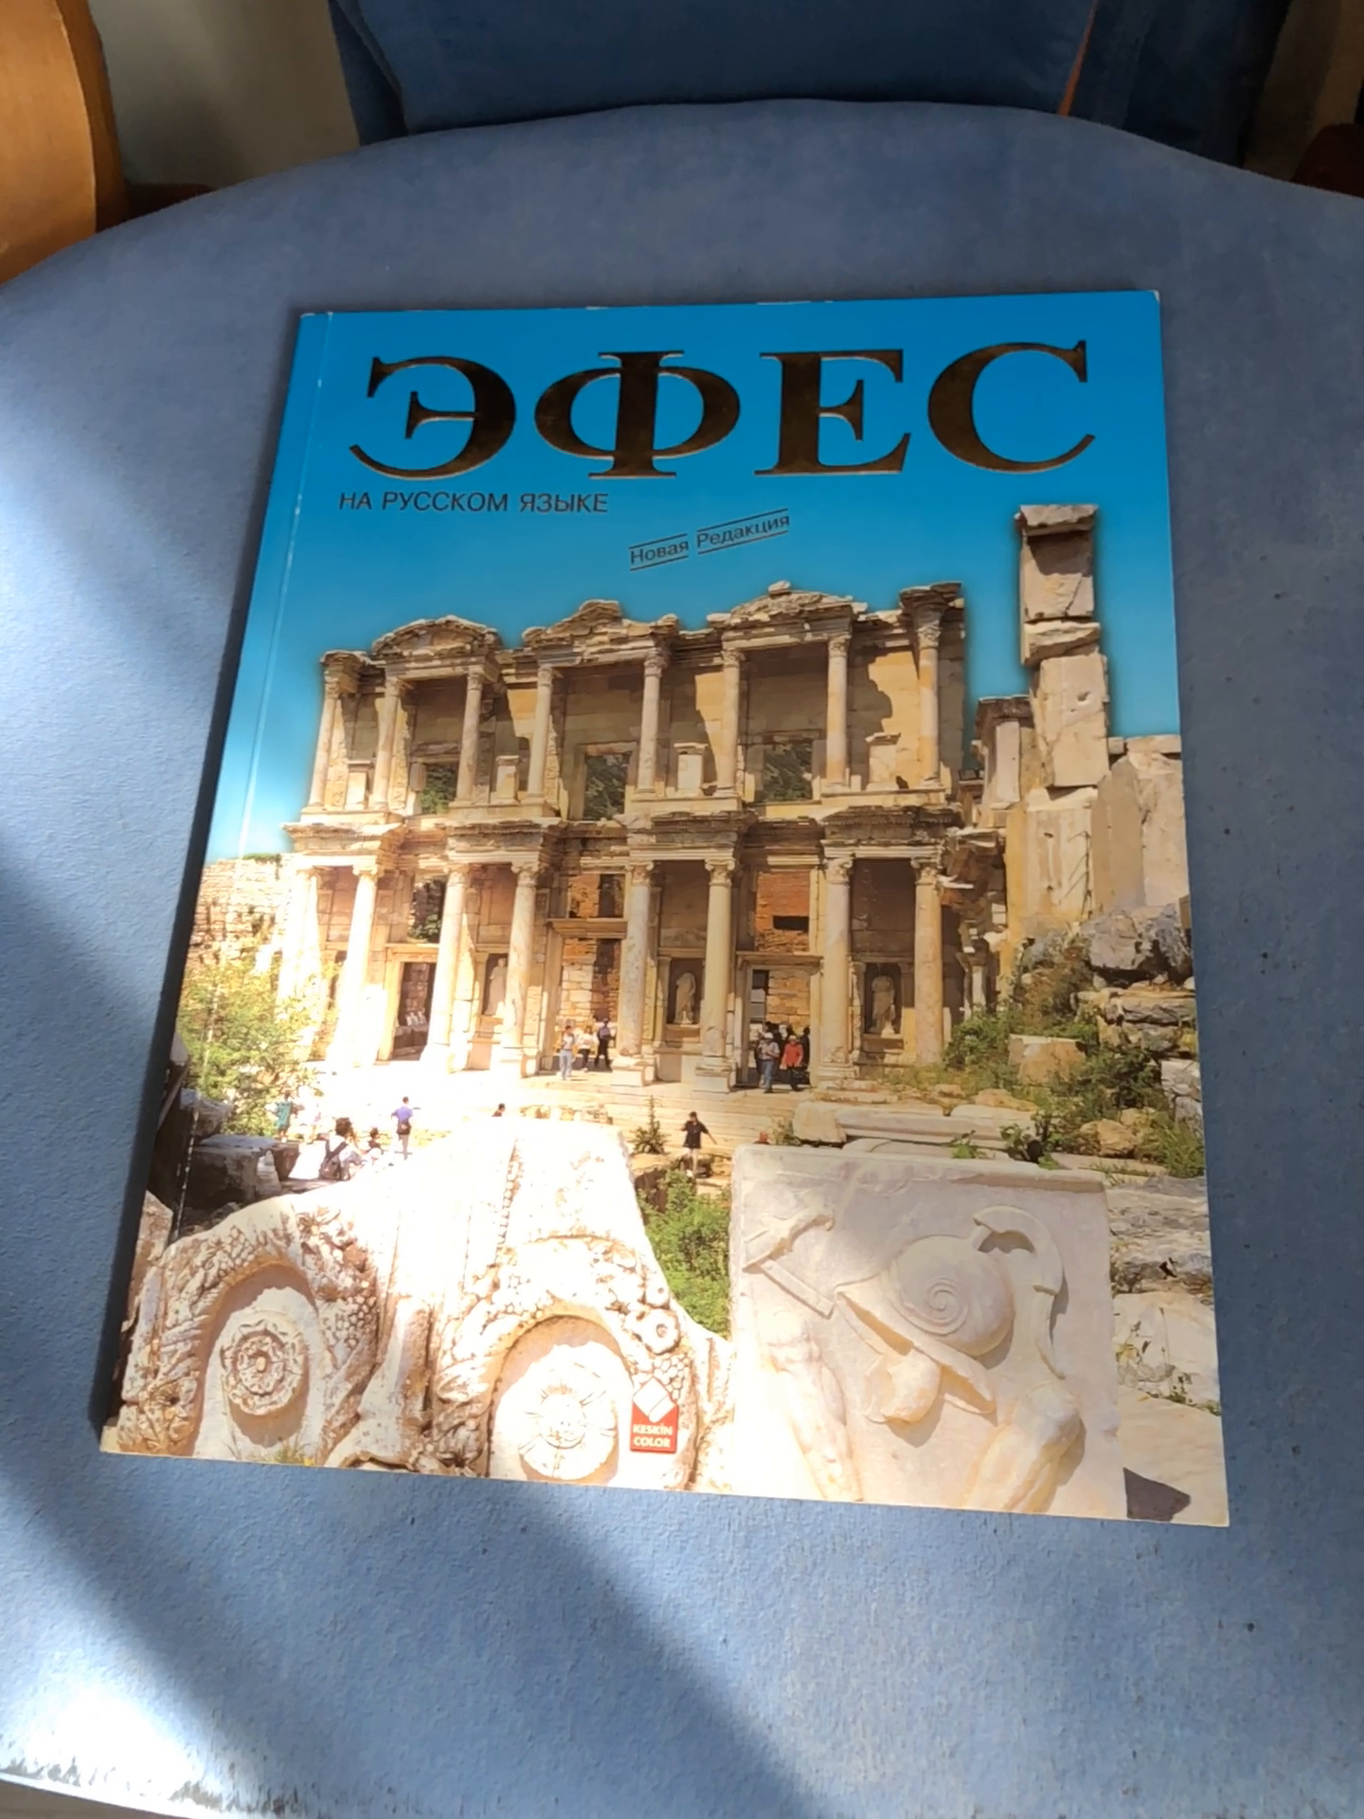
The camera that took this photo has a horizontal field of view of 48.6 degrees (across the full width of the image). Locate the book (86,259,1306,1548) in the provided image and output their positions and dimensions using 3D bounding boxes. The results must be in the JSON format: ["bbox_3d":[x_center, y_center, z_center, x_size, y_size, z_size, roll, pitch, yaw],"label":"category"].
[{"bbox_3d":[0.006,-0.016,0.288,0.196,0.020,0.241,1,72,7],"label":"book"}]
